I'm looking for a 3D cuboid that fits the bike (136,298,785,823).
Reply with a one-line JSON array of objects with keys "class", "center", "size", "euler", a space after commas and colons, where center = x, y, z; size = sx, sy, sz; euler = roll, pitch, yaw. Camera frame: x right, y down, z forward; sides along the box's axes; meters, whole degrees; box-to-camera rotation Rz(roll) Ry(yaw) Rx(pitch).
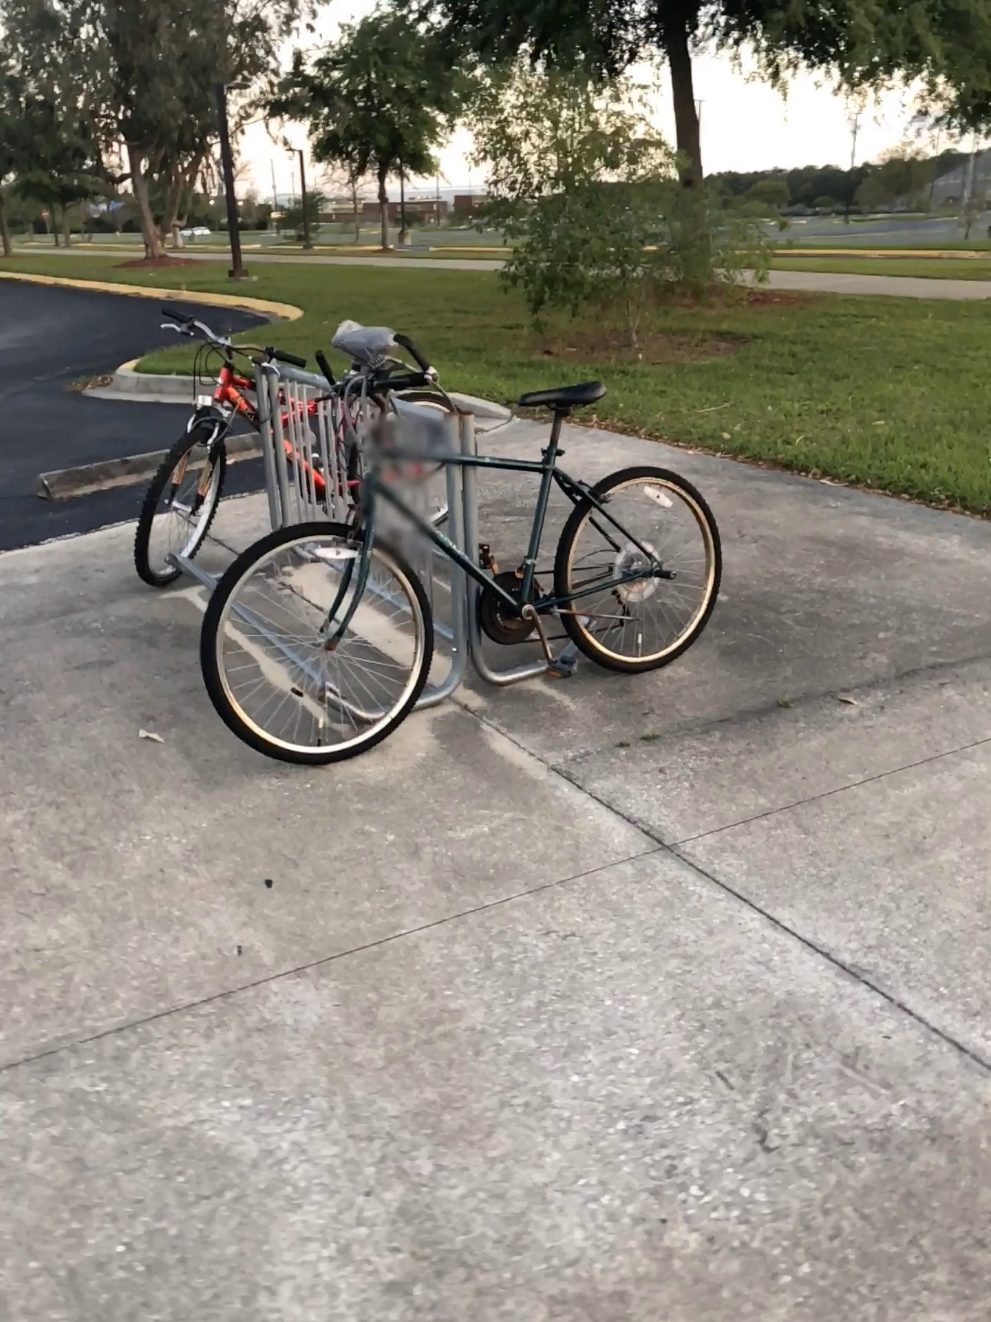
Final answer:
[{"class": "bike", "center": [-0.023, -0.406, 3.144], "size": [1.753, 1.104, 0.586], "euler": [-15, 25, -28]}]
